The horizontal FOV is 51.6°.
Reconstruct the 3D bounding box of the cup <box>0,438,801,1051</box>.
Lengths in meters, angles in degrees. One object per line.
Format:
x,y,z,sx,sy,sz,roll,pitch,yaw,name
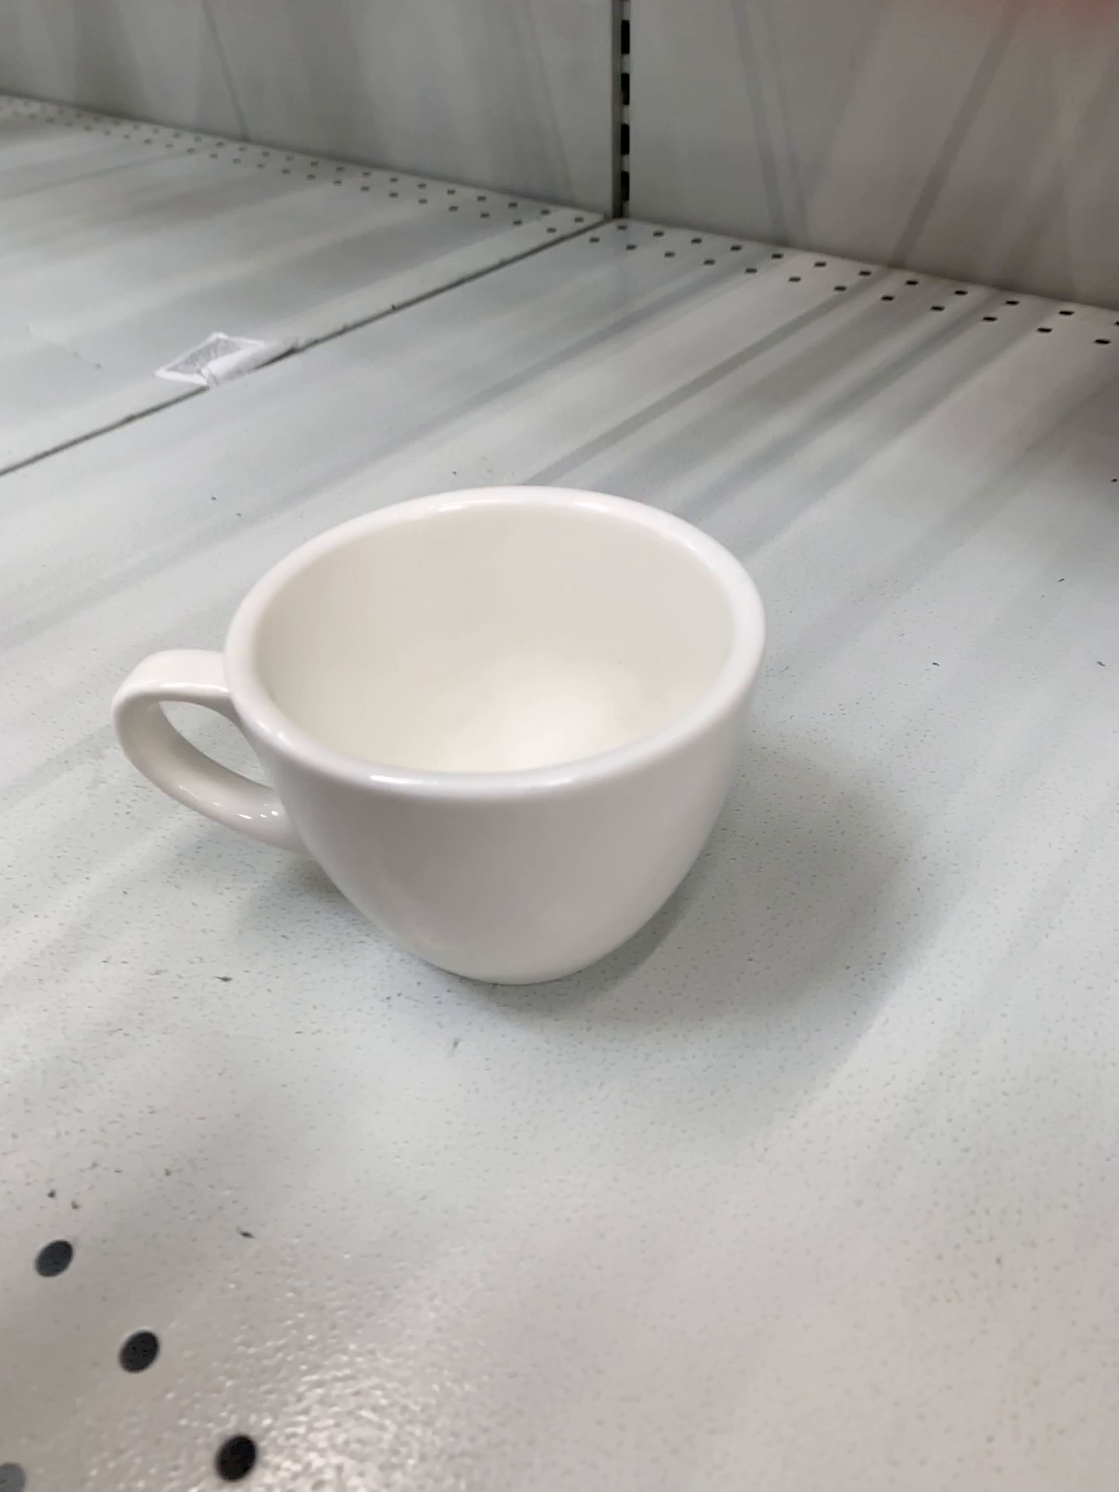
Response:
-0.025,-0.008,0.238,0.132,0.062,0.095,9,41,13,cup
